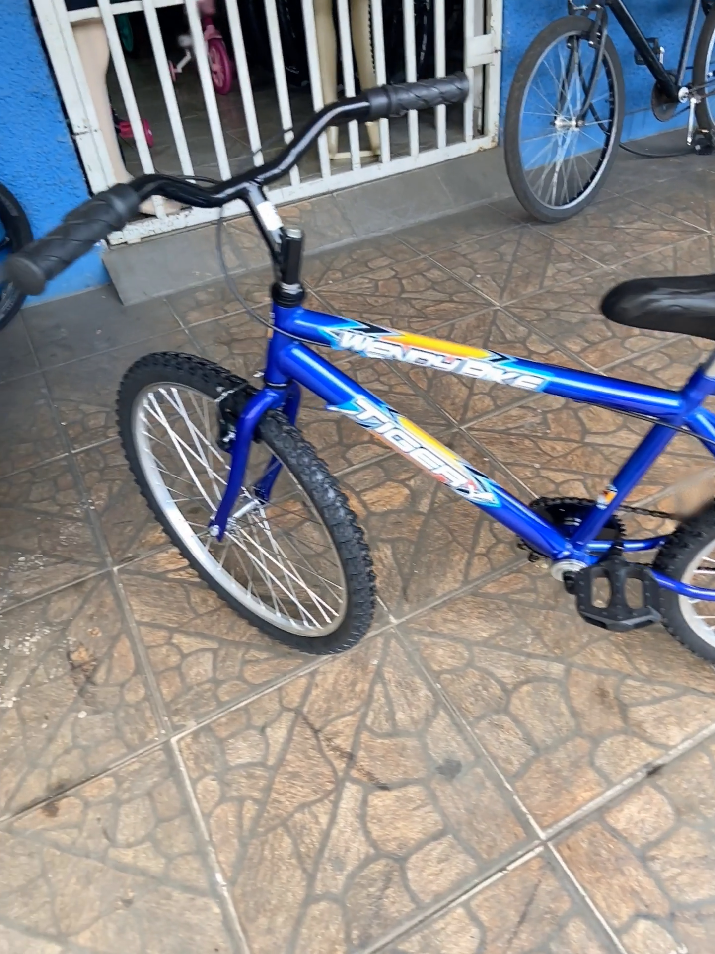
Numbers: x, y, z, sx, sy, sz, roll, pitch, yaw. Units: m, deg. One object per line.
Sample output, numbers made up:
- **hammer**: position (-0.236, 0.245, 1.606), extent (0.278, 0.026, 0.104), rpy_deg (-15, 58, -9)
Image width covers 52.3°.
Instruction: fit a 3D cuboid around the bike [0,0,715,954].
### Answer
- **bike**: position (0.285, -0.067, 0.995), extent (1.487, 0.923, 0.626), rpy_deg (8, 41, 14)
